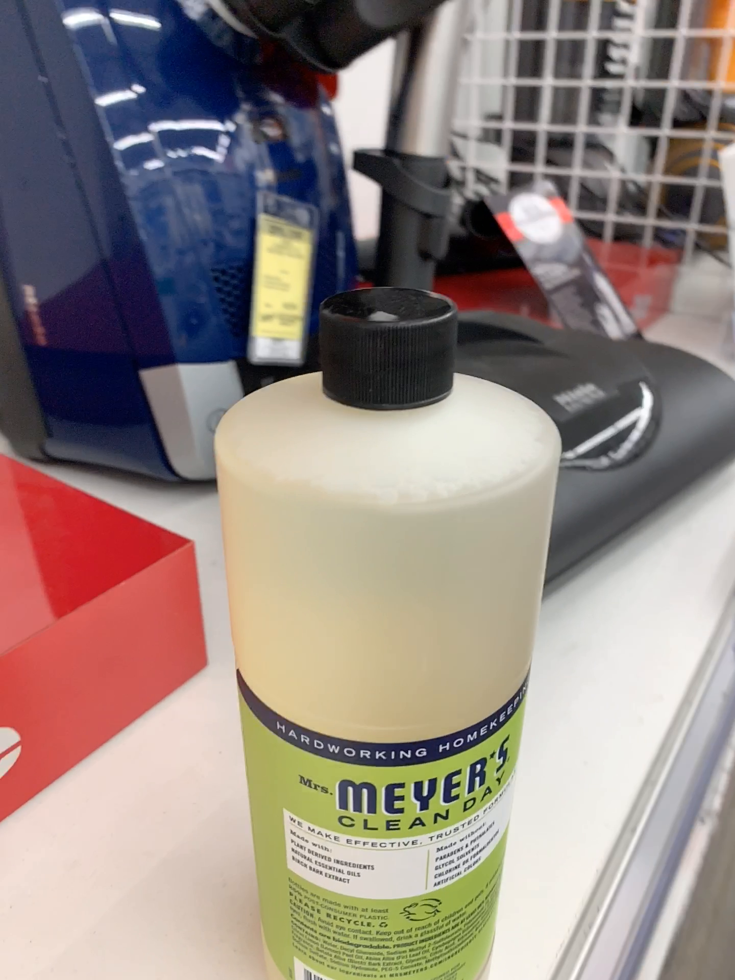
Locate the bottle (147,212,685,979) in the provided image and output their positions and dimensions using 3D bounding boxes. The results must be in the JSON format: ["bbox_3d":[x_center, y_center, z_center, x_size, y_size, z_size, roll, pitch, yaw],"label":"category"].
[{"bbox_3d":[0.002,0.054,0.226,0.090,0.239,0.090,0,29,0],"label":"bottle"}]
